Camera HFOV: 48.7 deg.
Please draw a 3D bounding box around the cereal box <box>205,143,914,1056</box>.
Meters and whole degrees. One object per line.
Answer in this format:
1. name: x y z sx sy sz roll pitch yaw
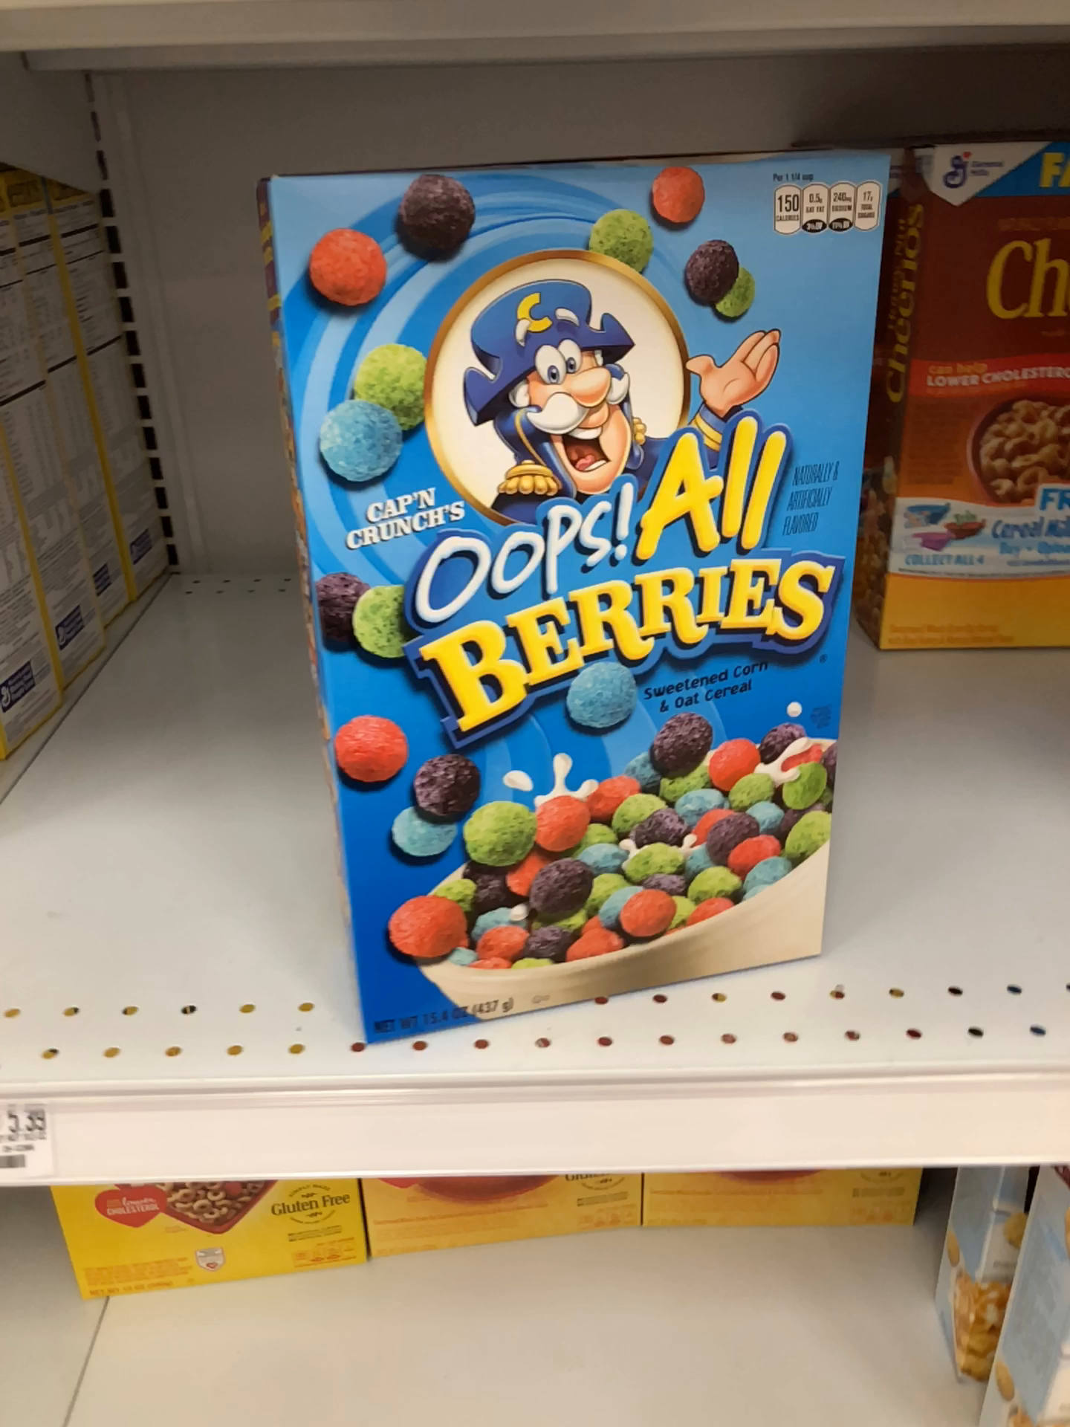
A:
1. cereal box: 0.011 -0.039 0.459 0.220 0.319 0.080 -9 27 -12
